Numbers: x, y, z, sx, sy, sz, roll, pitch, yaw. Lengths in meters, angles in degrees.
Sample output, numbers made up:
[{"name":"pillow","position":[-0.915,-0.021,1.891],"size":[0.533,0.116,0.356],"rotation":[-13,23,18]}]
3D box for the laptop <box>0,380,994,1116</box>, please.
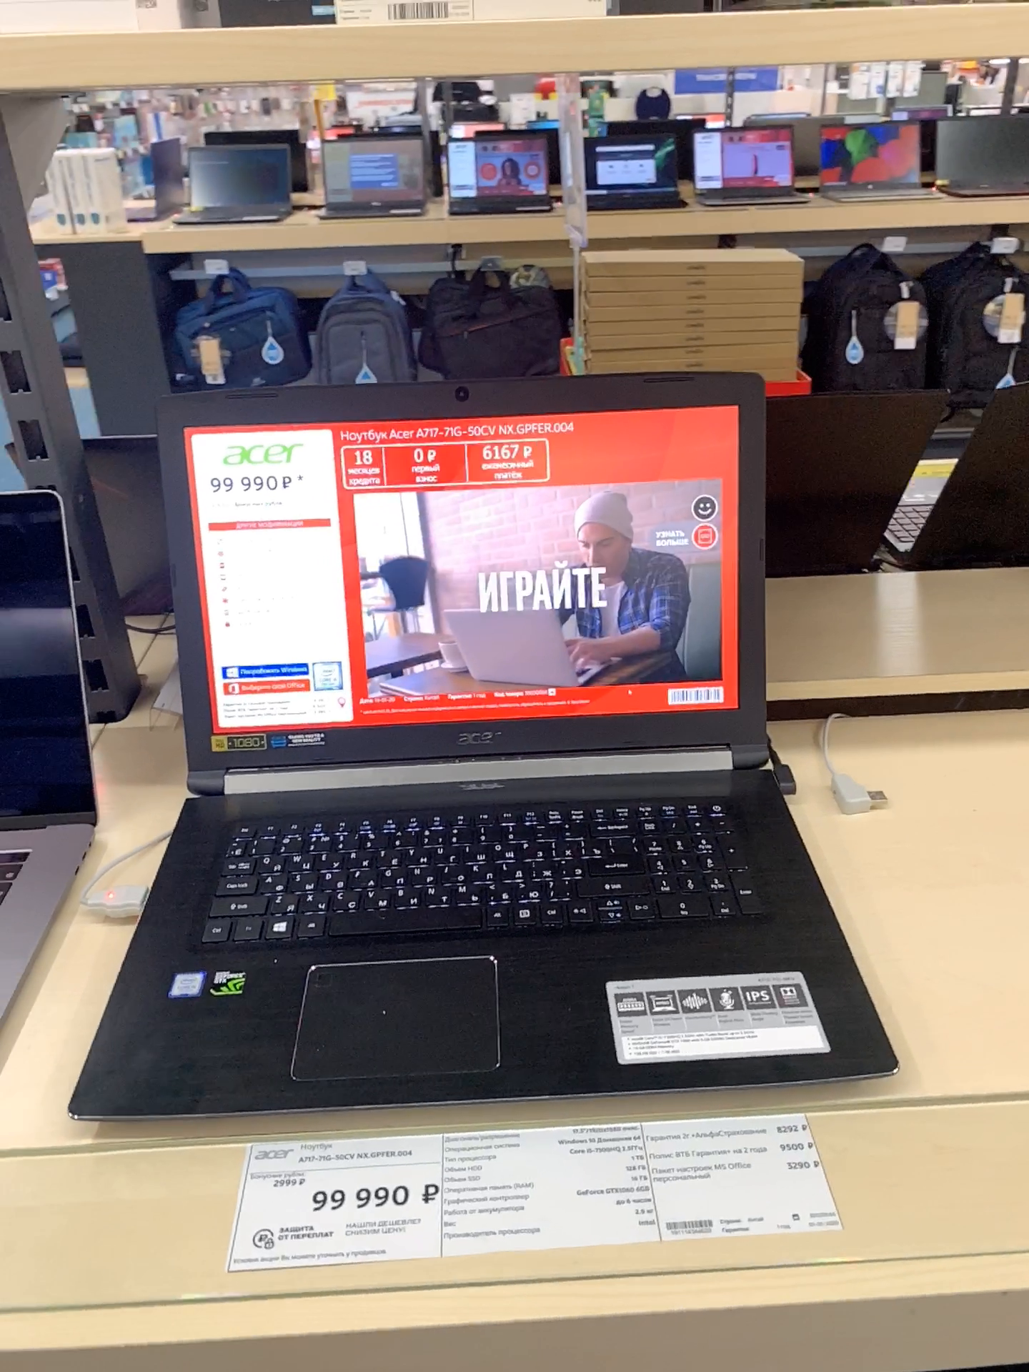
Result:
[{"name":"laptop","position":[-0.025,0.000,0.614],"size":[0.406,0.248,0.364],"rotation":[-3,30,-2]}]
